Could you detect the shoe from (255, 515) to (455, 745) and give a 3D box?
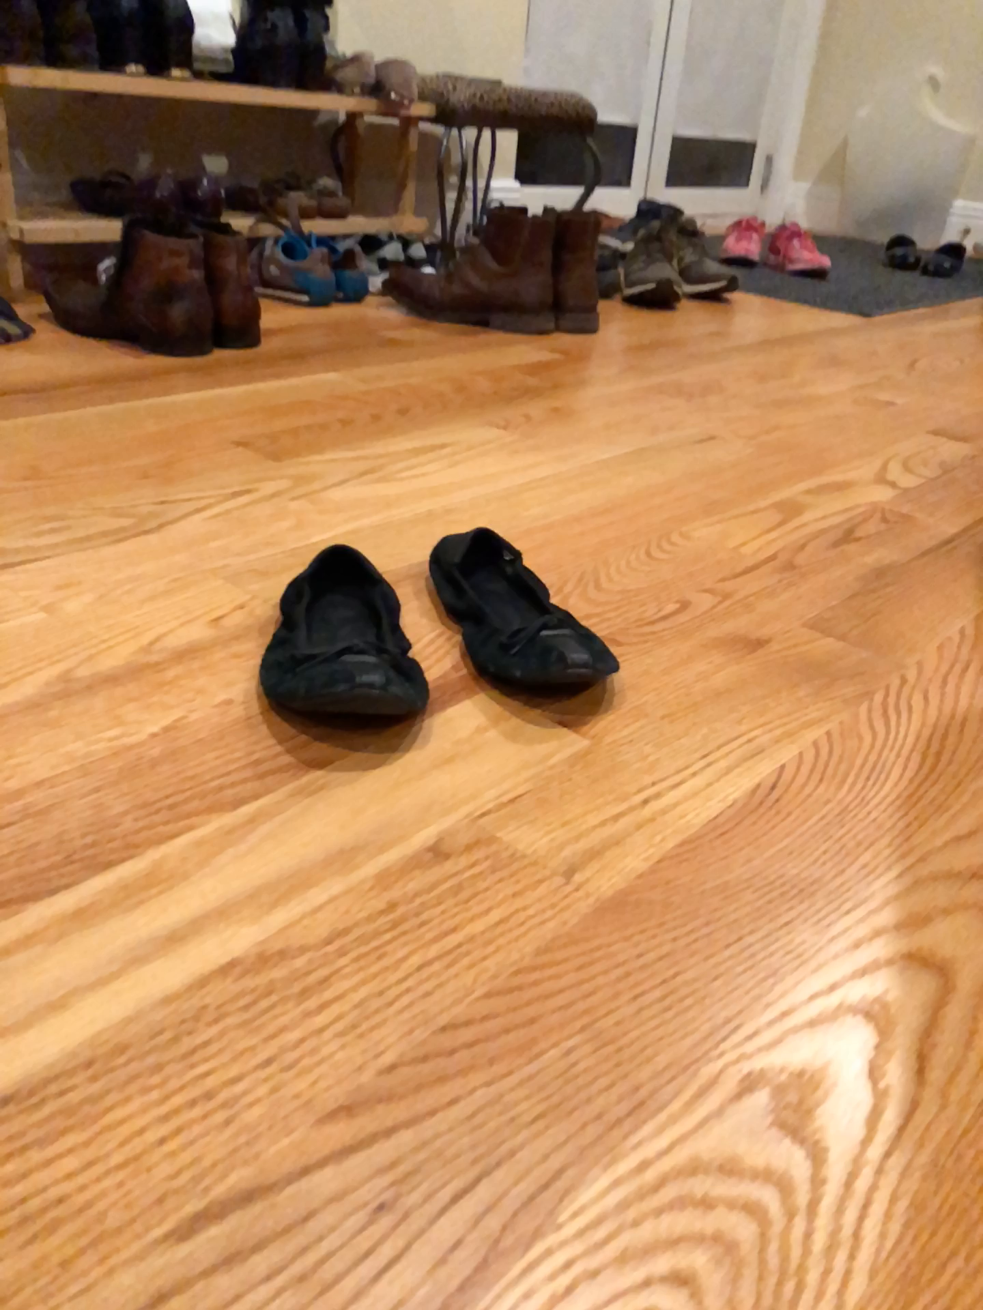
[{"bbox_3d":[-0.094,-0.025,0.674,0.100,0.050,0.221,-1,27,-13],"label":"shoe"}]

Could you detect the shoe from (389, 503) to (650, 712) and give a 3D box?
[{"bbox_3d":[0.009,-0.041,0.724,0.093,0.046,0.221,-6,29,-22],"label":"shoe"}]
